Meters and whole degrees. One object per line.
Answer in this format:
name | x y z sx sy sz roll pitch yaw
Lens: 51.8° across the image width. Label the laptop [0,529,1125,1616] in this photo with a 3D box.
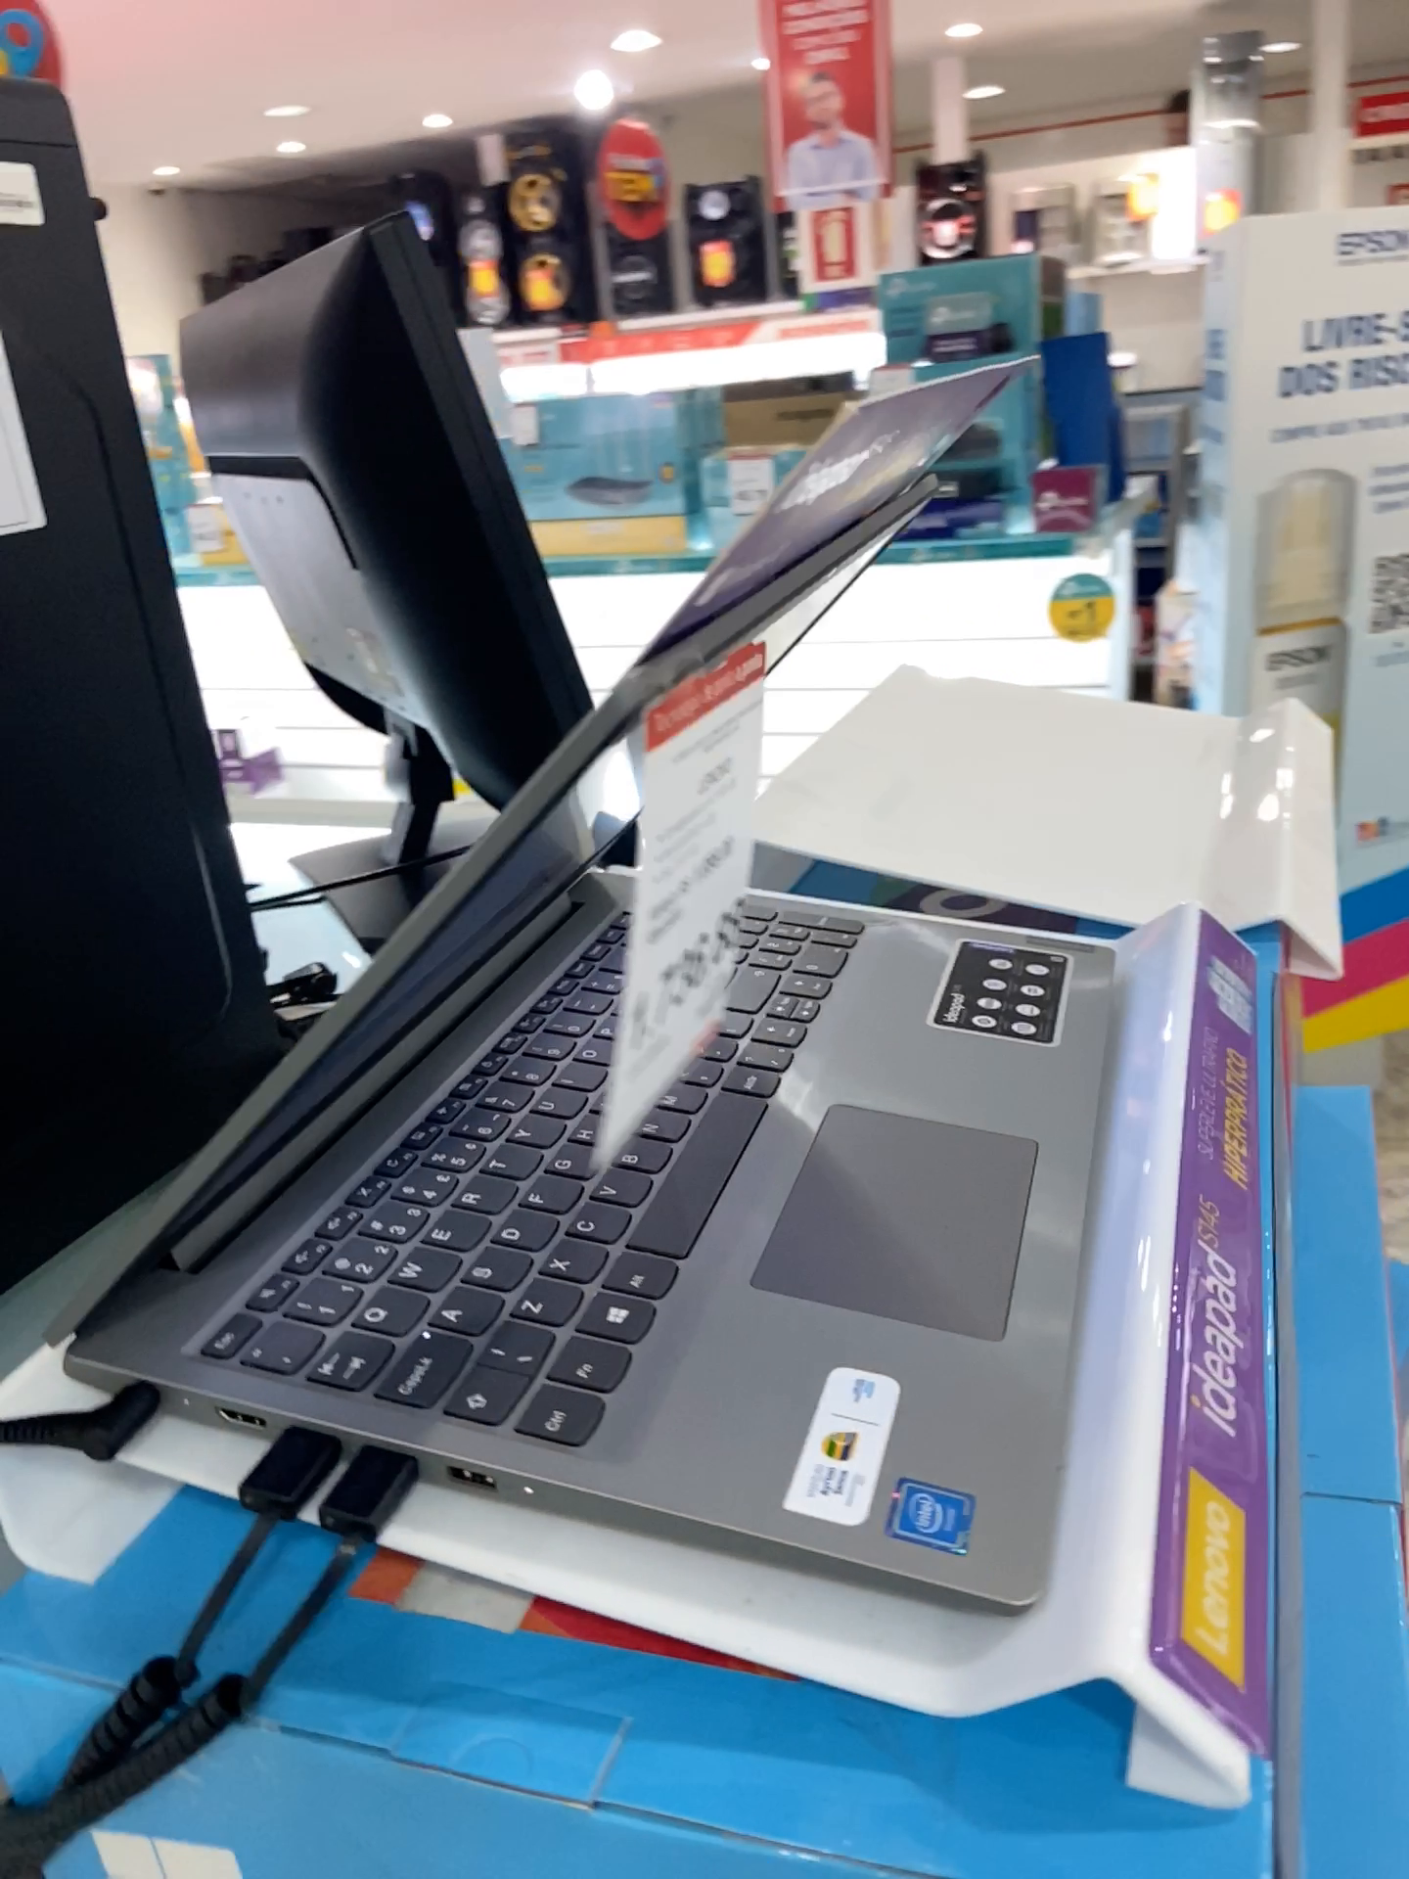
laptop | 0.000 -0.019 0.458 0.243 0.162 0.358 6 23 16
